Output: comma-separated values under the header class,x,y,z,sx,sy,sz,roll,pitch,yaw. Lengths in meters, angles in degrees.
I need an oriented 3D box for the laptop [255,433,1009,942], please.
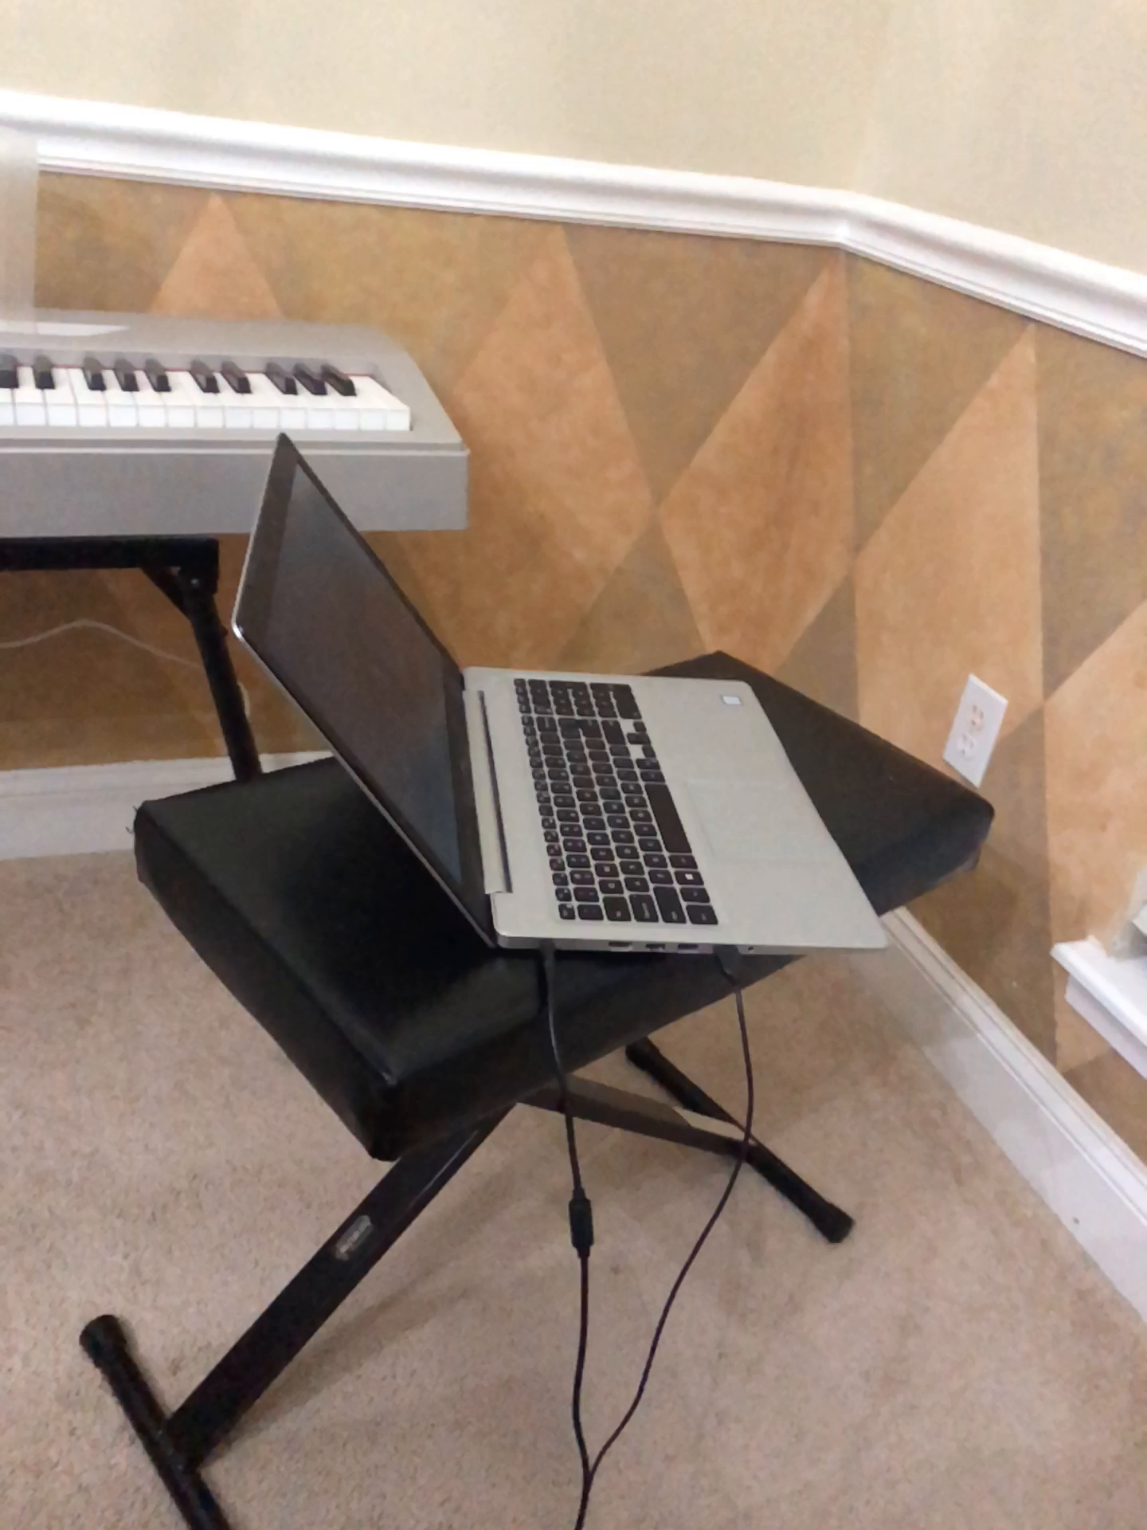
class,x,y,z,sx,sy,sz,roll,pitch,yaw
laptop,0.005,-0.069,0.870,0.408,0.183,0.377,3,29,-11
